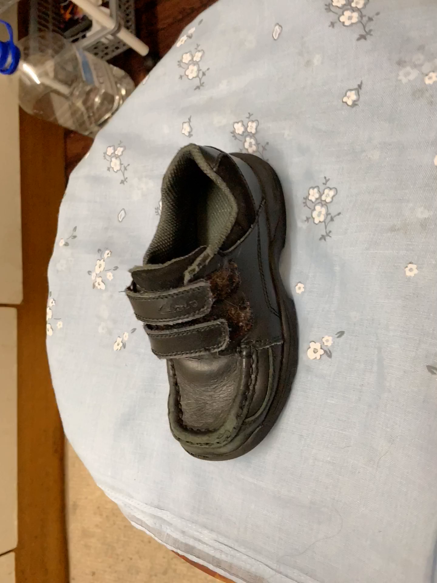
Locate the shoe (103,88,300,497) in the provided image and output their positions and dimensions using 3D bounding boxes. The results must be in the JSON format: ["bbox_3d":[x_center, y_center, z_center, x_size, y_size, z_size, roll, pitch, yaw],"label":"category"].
[{"bbox_3d":[-0.006,0.000,0.261,0.079,0.073,0.190,-1,84,33],"label":"shoe"}]
